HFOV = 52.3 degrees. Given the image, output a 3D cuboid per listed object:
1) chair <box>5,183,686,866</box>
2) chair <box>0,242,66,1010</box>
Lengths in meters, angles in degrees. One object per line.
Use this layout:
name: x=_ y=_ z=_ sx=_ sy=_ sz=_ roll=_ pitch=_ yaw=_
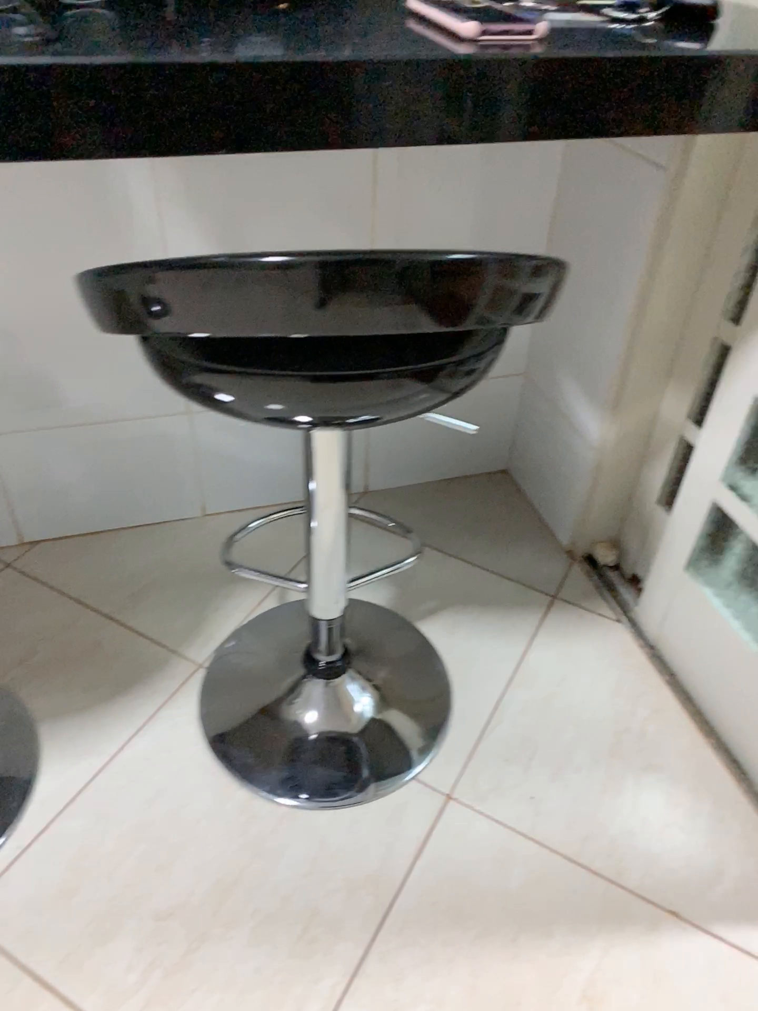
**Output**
chair: x=-0.061 y=0.019 z=0.957 sx=0.520 sy=0.664 sz=0.444 roll=-6 pitch=39 yaw=-11
chair: x=-0.658 y=0.138 z=0.789 sx=0.511 sy=0.634 sz=0.413 roll=-9 pitch=40 yaw=-15
